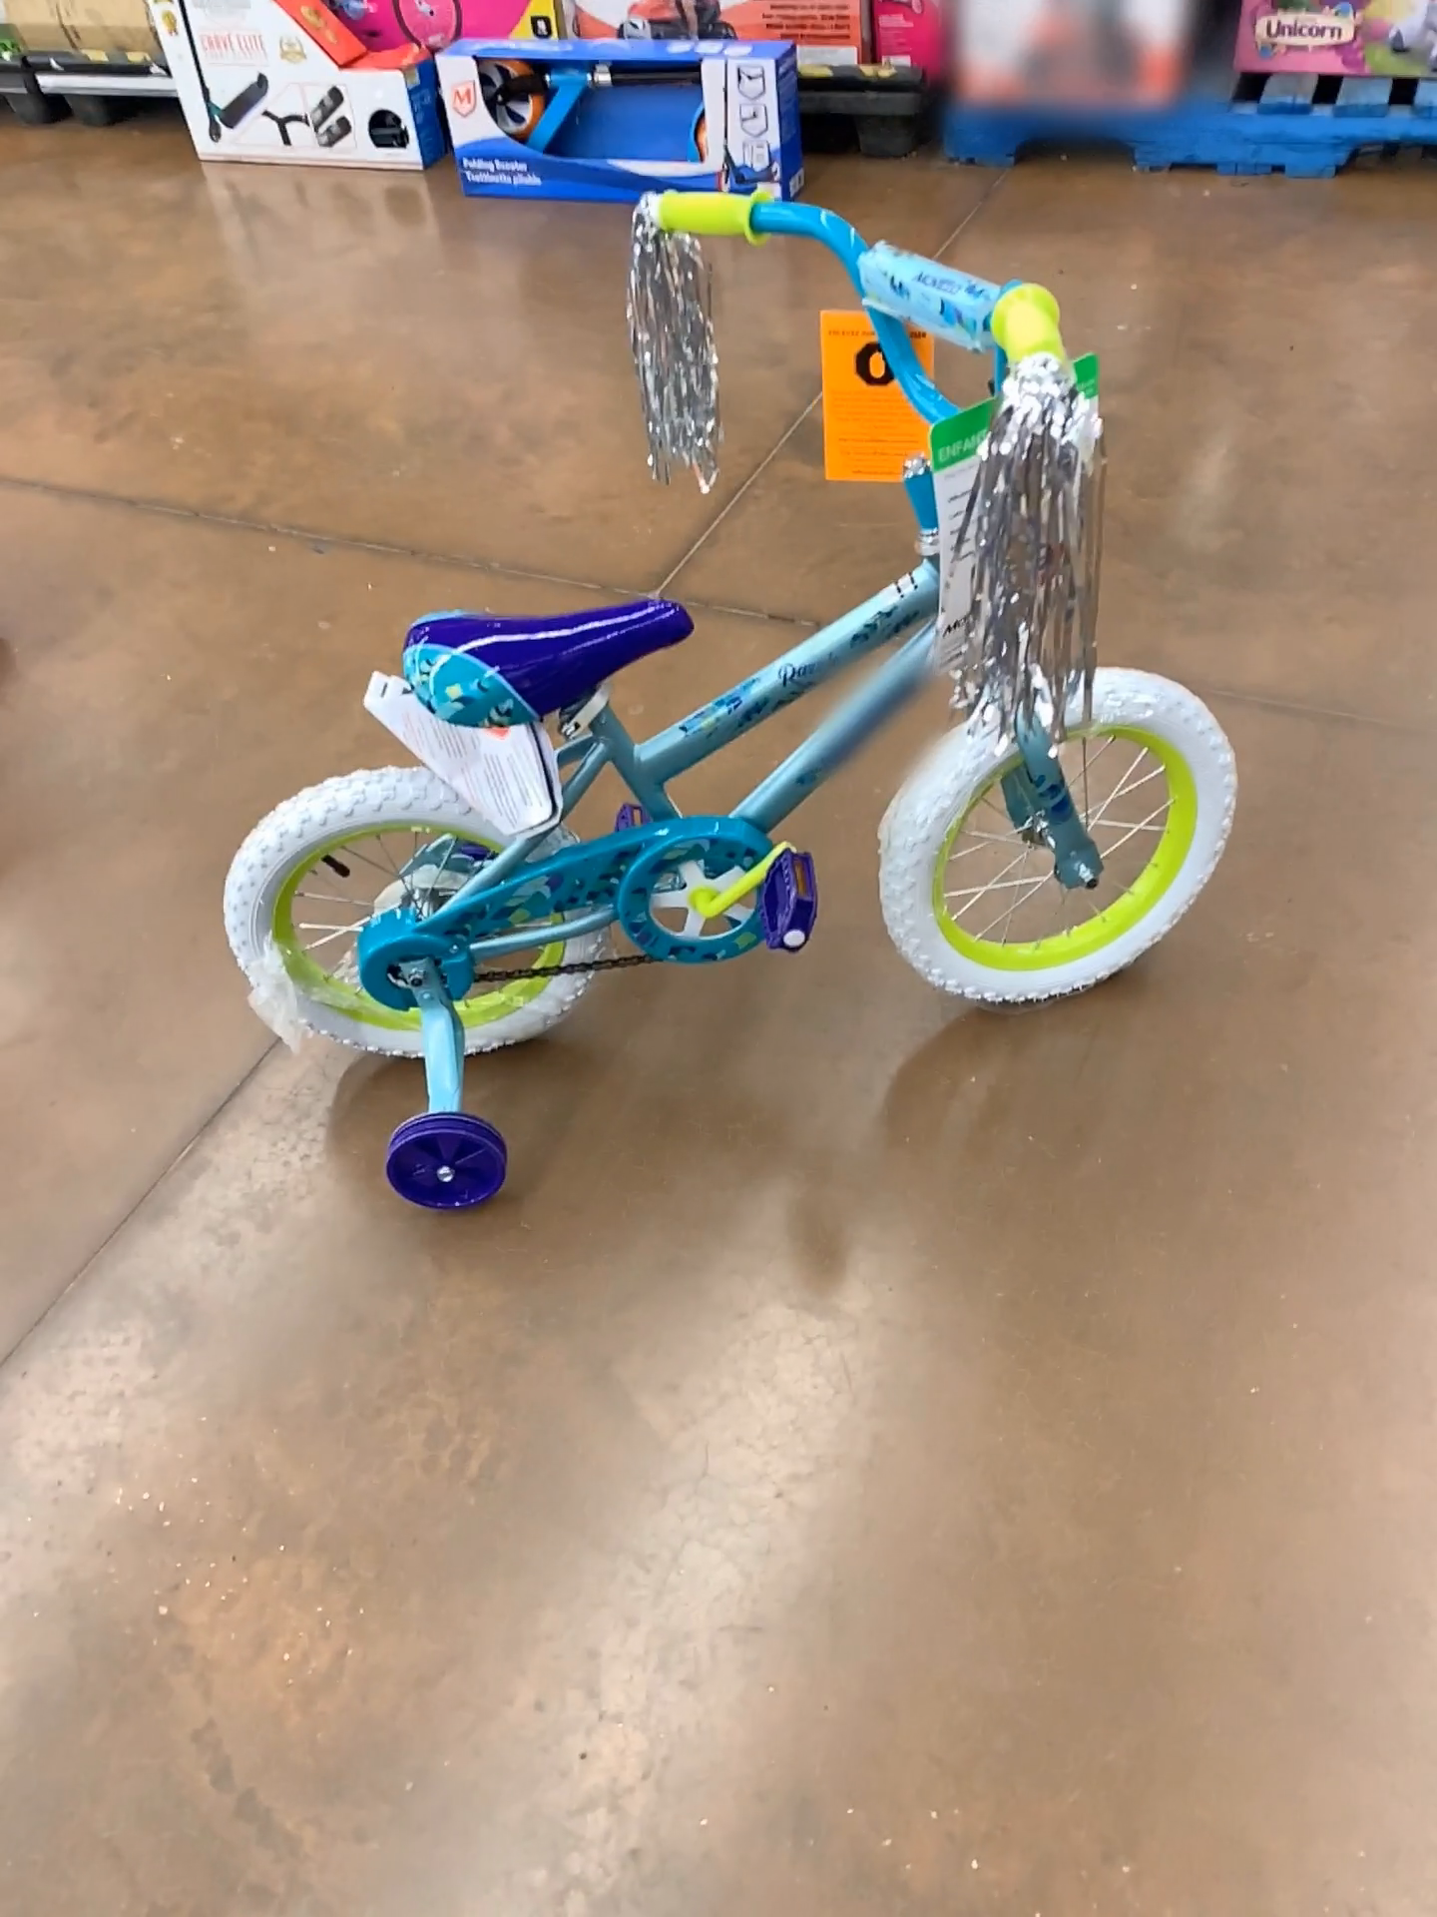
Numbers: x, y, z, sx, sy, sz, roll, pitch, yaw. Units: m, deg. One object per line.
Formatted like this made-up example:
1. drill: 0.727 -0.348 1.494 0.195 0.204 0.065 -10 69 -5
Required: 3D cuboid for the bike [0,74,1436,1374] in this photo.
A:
1. bike: 0.007 -0.196 1.142 0.859 0.639 0.626 -11 45 -4
